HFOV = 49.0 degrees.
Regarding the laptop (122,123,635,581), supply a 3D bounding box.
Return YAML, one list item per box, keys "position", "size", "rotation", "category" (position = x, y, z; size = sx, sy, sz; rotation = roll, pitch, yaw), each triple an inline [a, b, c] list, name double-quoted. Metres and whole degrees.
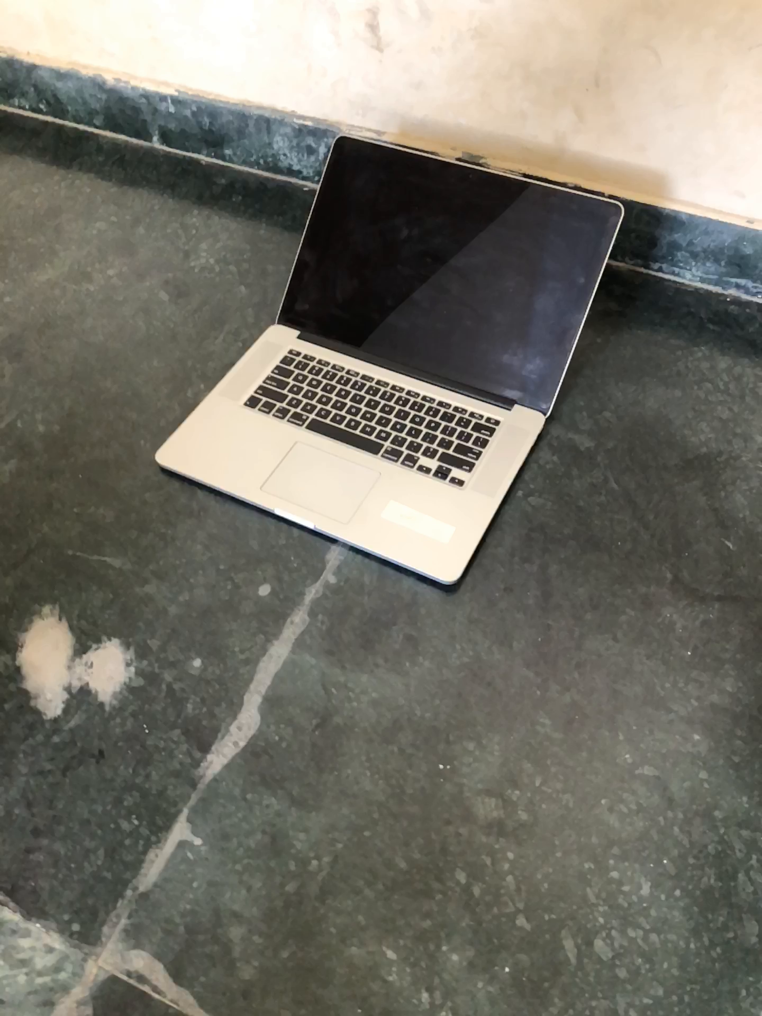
- position: [0.016, -0.192, 0.882]
  size: [0.342, 0.130, 0.435]
  rotation: [21, 60, 16]
  category: "laptop"
